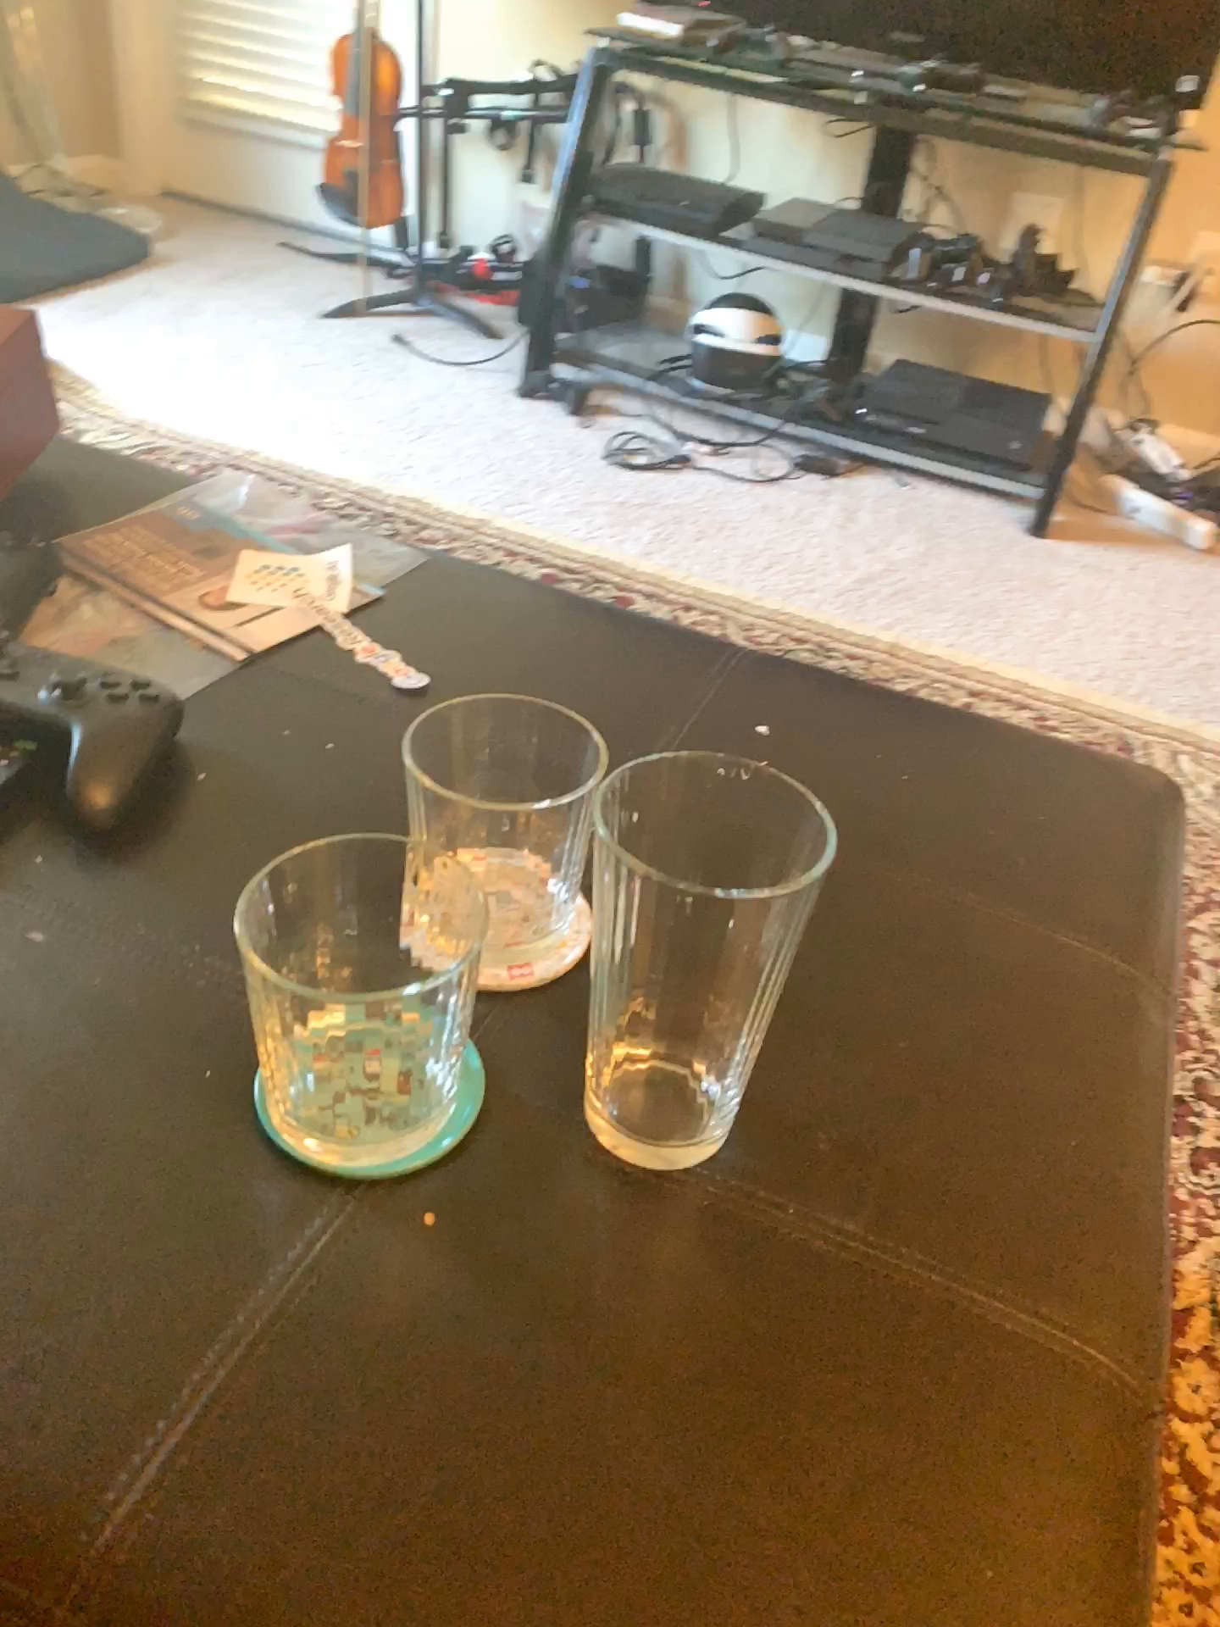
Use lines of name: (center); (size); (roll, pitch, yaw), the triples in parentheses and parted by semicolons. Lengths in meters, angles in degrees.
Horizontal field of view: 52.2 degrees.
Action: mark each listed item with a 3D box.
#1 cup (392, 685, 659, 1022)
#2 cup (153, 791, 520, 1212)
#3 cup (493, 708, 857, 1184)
cup: (-0.044, 0.017, 0.595); (0.080, 0.109, 0.090); (-24, 47, -36)
cup: (-0.104, 0.067, 0.475); (0.090, 0.089, 0.100); (-24, 47, -36)
cup: (0.020, 0.050, 0.479); (0.090, 0.139, 0.080); (-24, 47, -36)
